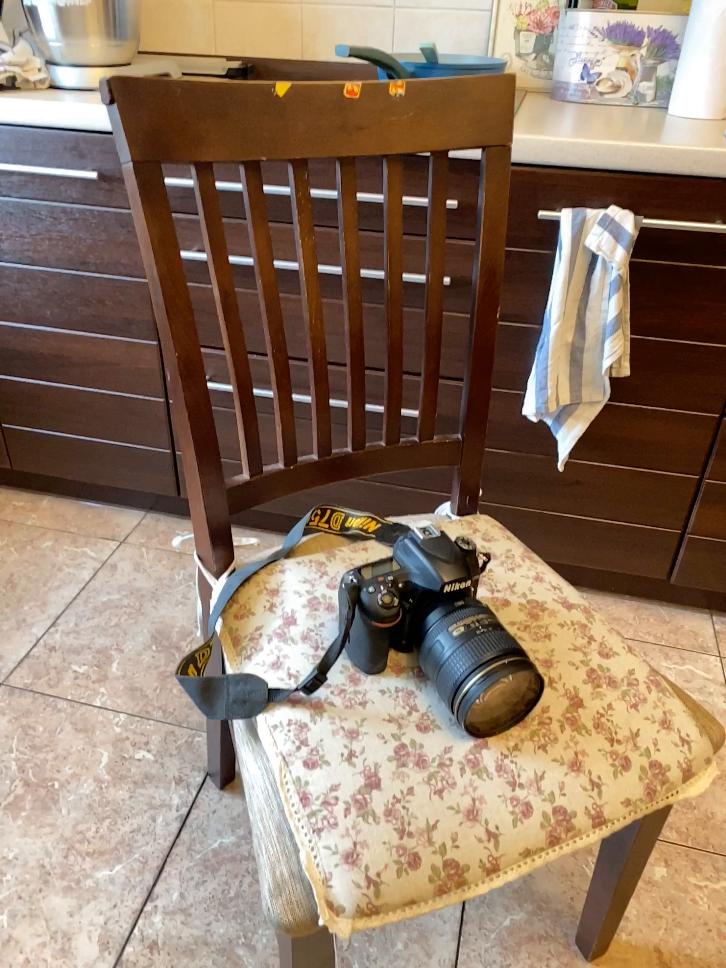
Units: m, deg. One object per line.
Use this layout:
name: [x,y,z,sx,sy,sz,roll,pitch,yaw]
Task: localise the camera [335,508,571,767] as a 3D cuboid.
camera: [0.070,0.129,0.665,0.135,0.119,0.165,-13,35,-22]
